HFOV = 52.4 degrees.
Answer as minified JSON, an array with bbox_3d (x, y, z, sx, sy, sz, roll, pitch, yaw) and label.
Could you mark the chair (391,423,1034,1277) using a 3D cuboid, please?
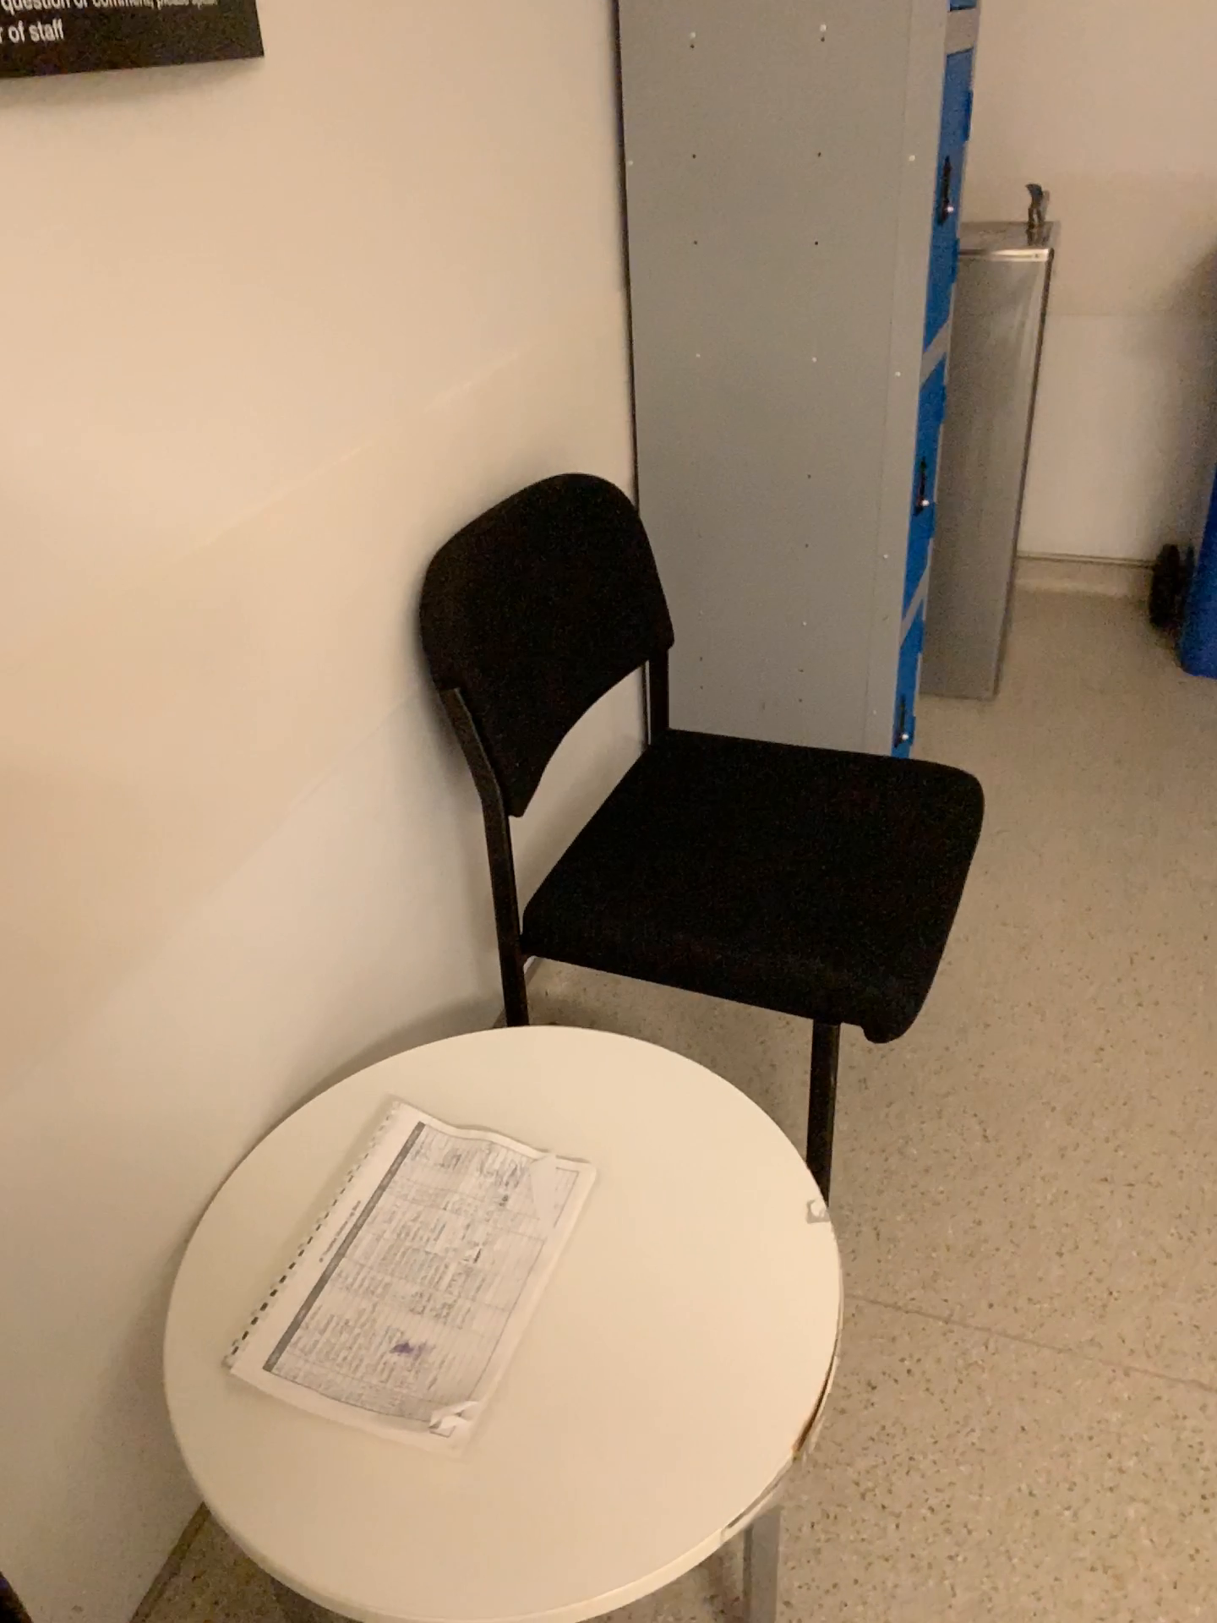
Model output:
[{"bbox_3d":[0.163,0.014,1.573,0.551,0.824,0.554,11,34,22],"label":"chair"}]
